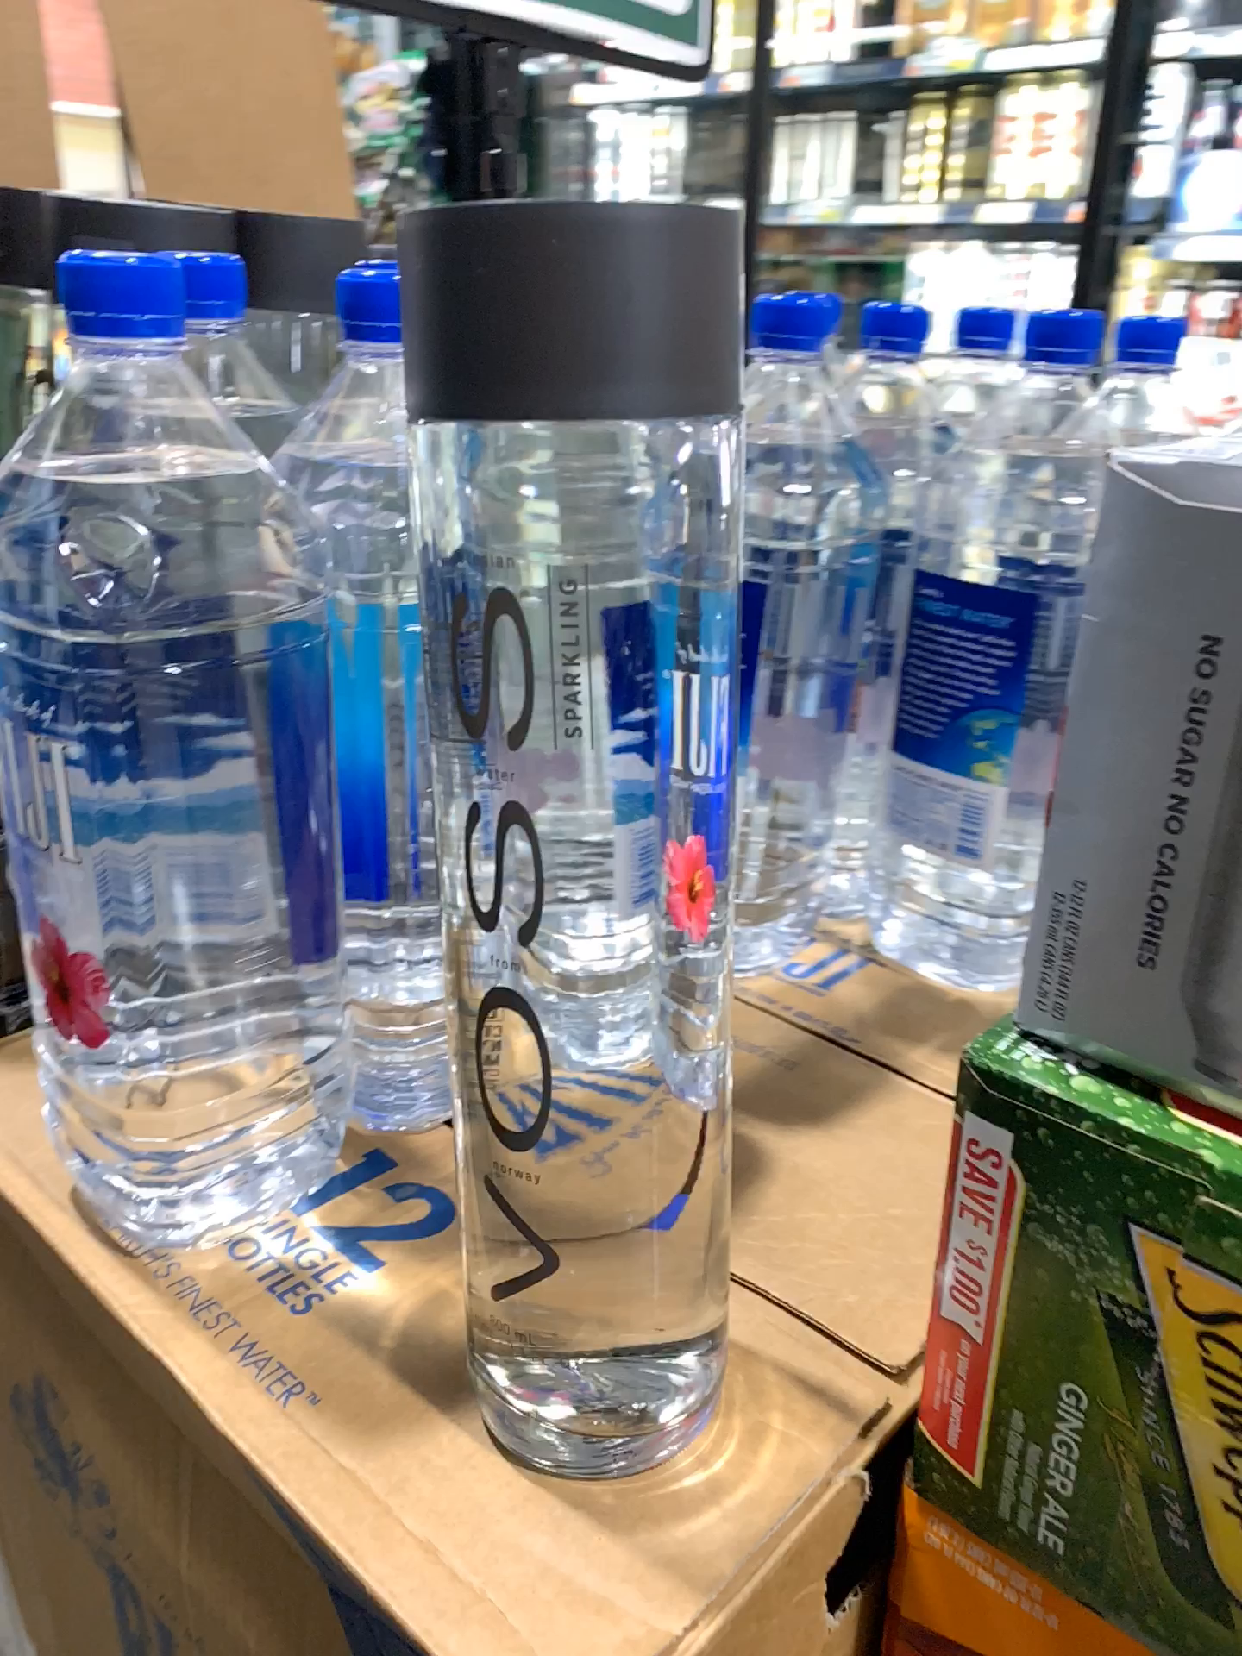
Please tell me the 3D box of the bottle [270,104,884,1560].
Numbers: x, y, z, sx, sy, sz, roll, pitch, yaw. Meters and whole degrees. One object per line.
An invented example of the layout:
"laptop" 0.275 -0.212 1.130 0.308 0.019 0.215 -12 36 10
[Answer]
"bottle" -0.009 0.010 0.287 0.080 0.289 0.080 1 21 0
